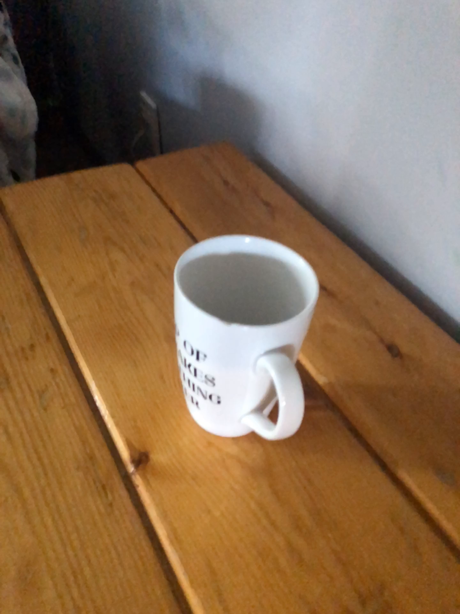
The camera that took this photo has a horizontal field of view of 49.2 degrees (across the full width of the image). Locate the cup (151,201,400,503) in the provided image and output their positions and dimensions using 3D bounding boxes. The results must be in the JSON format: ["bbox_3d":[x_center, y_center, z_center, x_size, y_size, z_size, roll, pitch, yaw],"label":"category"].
[{"bbox_3d":[0.015,0.024,0.336,0.100,0.120,0.140,-11,46,-16],"label":"cup"}]
